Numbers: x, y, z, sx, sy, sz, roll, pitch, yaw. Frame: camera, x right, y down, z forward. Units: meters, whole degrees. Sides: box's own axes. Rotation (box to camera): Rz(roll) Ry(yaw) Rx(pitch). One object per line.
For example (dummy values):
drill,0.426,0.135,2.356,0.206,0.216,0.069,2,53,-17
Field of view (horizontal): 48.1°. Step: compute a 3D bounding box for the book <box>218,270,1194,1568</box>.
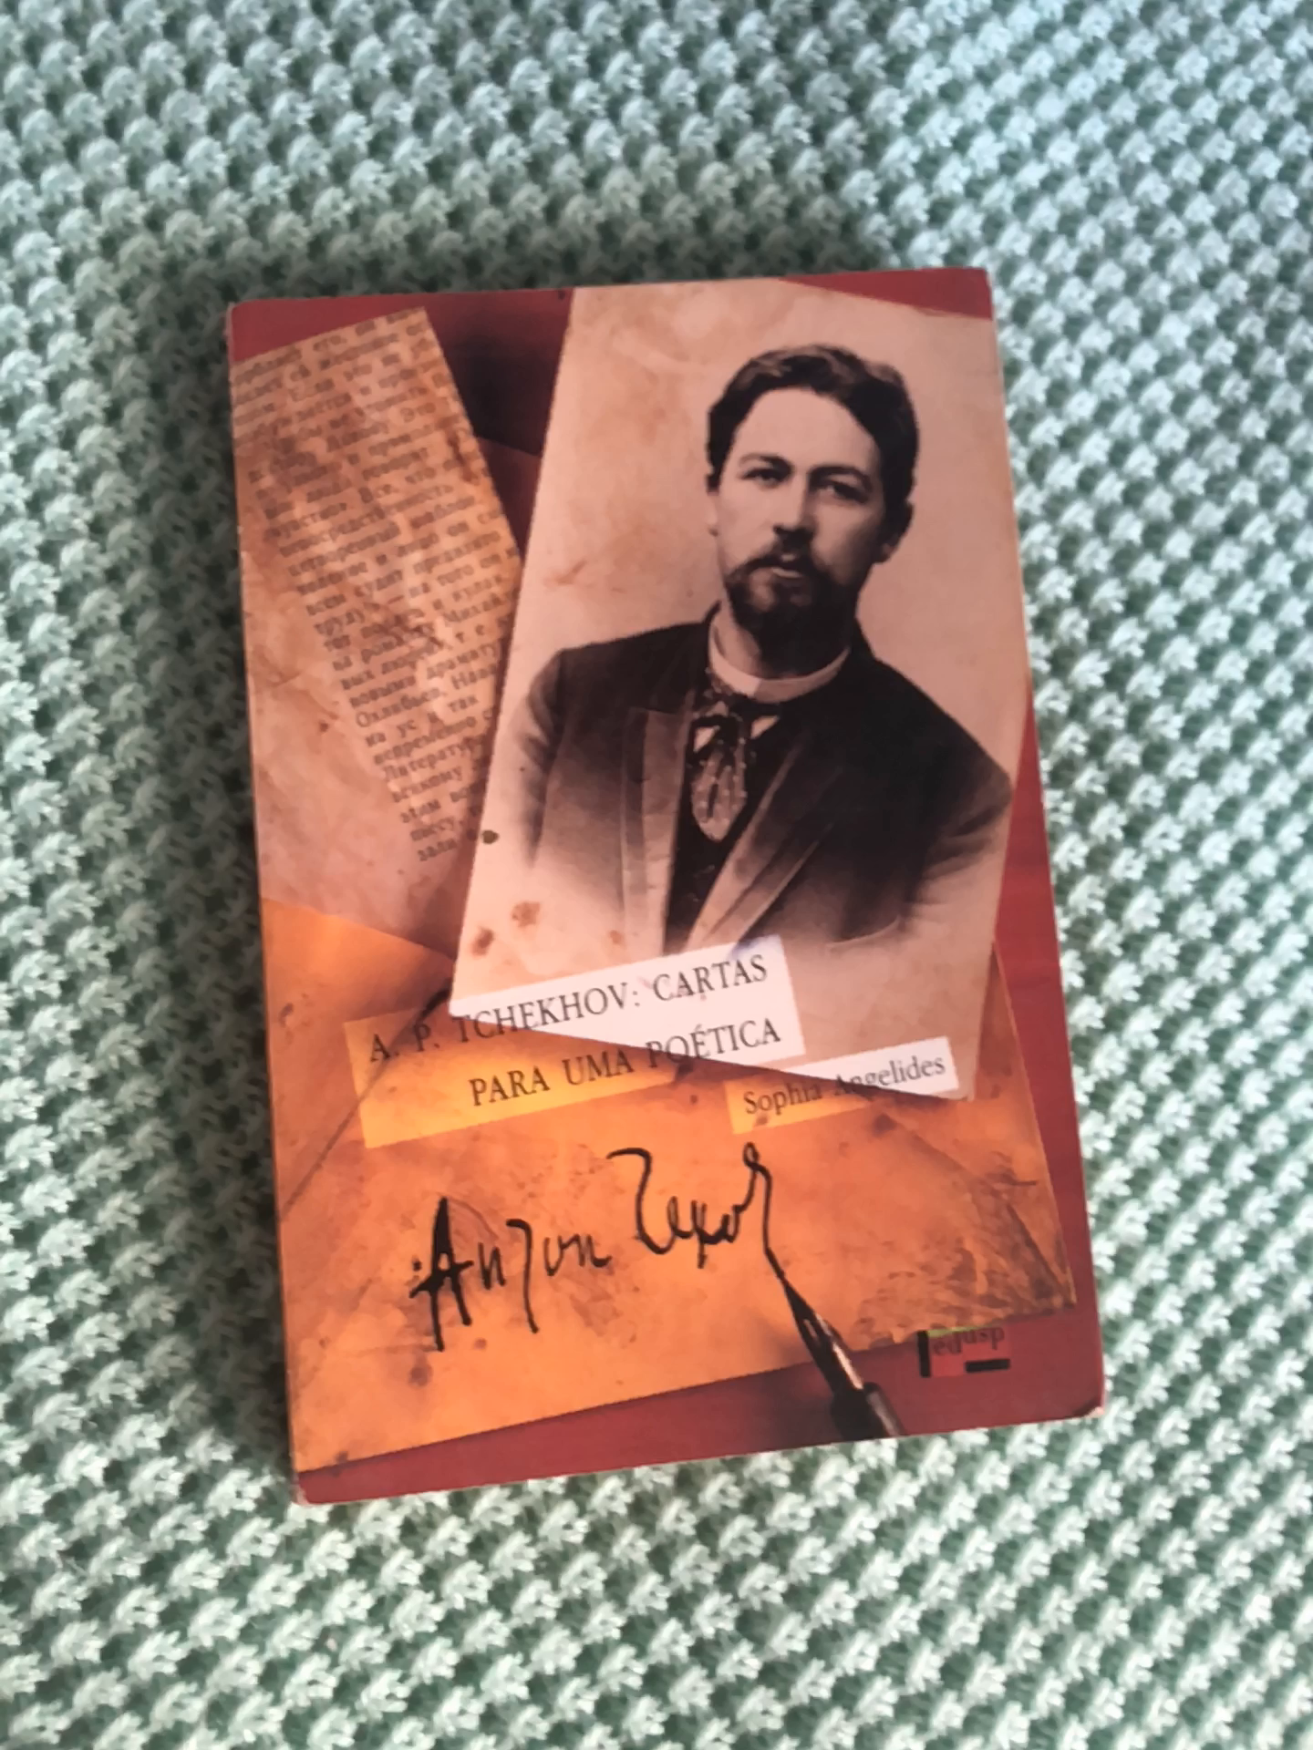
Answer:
book,0.008,-0.001,0.266,0.150,0.030,0.210,-5,86,-11
